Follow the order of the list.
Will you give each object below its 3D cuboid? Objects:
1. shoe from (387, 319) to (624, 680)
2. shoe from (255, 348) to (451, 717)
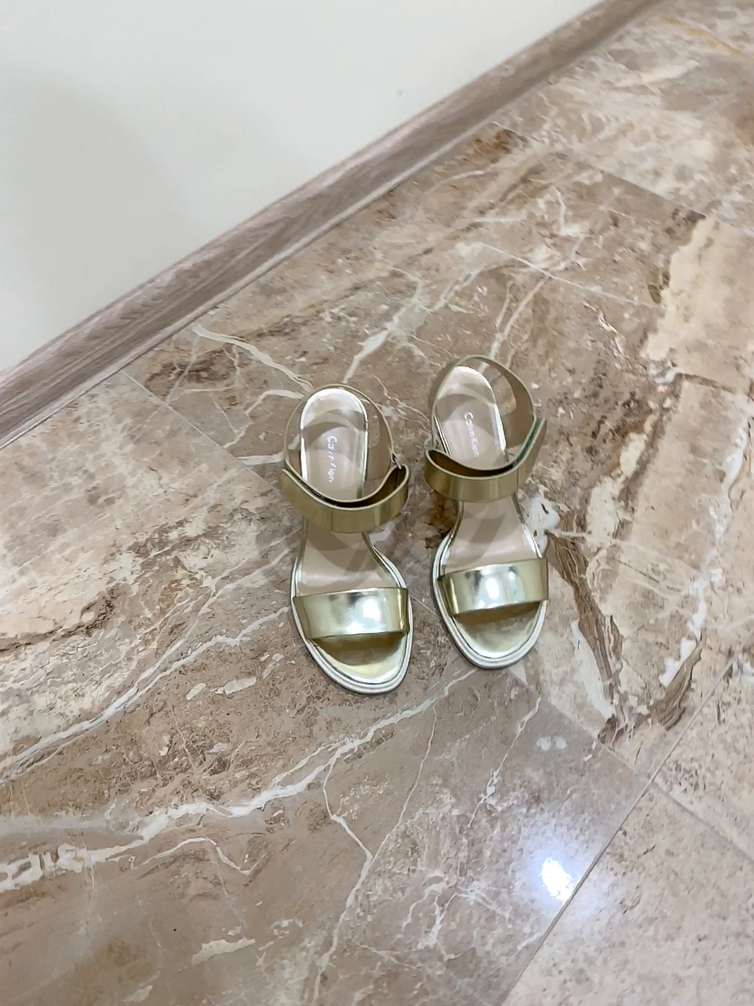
[{"bbox_3d":[0.079,-0.008,0.575,0.100,0.120,0.231,-9,55,-6],"label":"shoe"},{"bbox_3d":[-0.023,0.018,0.559,0.095,0.130,0.221,-8,55,-6],"label":"shoe"}]
